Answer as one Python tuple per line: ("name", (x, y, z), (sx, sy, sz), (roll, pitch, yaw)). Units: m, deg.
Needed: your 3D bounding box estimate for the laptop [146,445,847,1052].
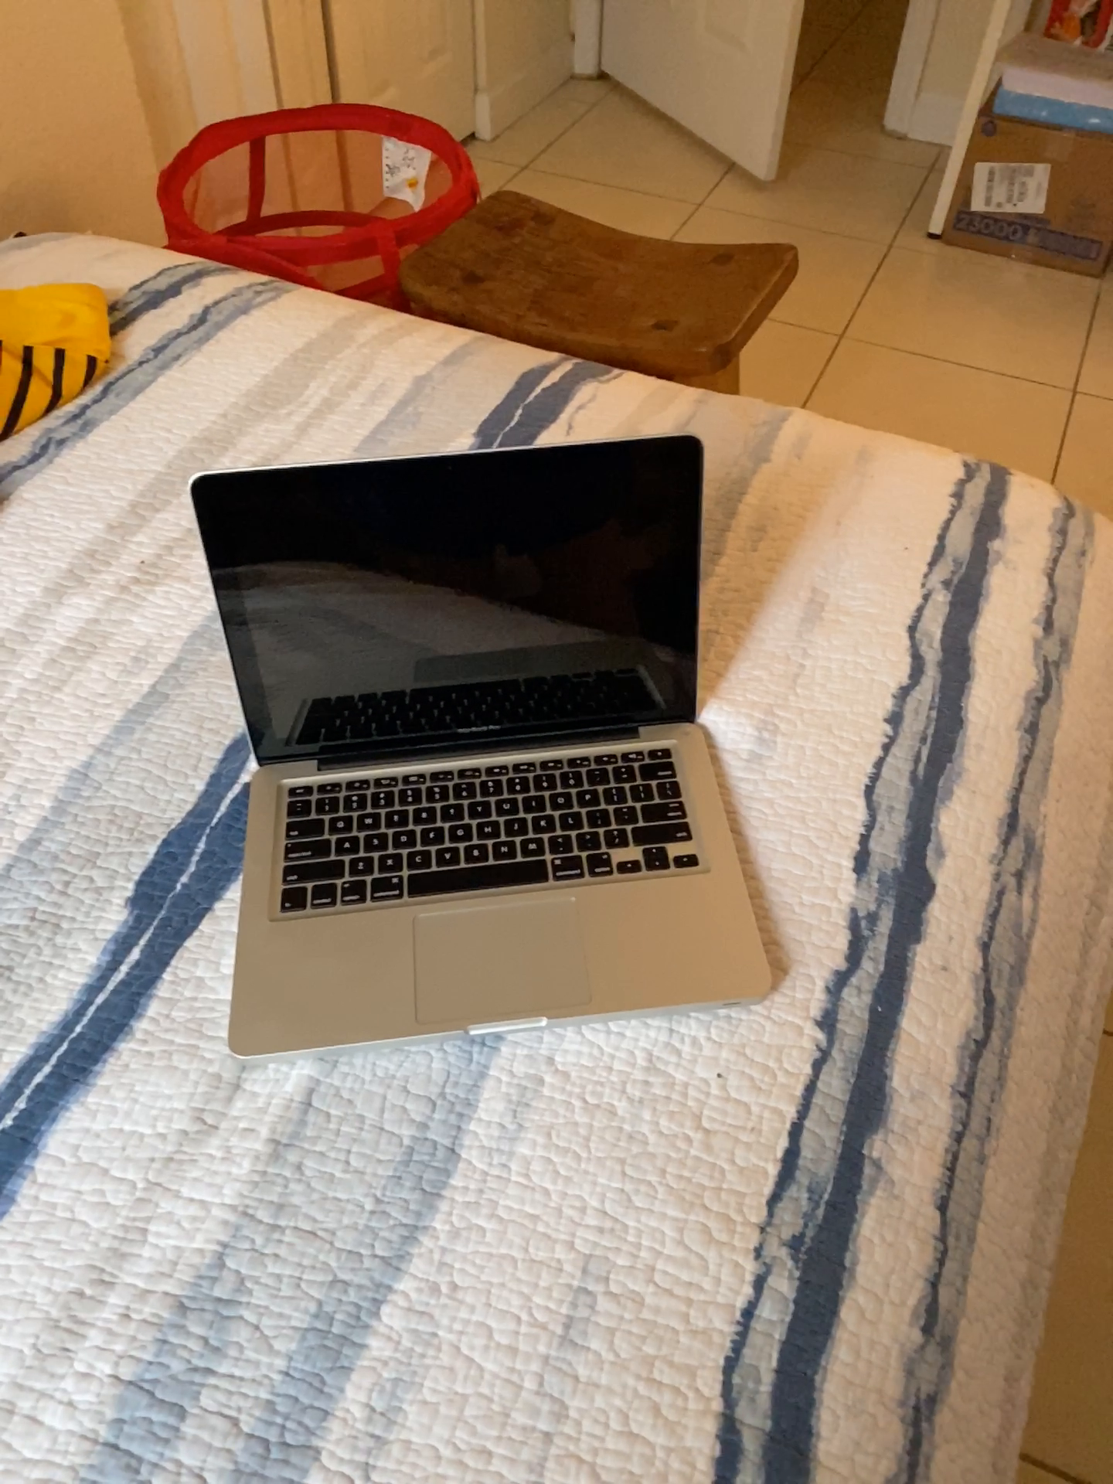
("laptop", (-0.043, -0.005, 0.683), (0.318, 0.199, 0.279), (-5, 47, -5))
